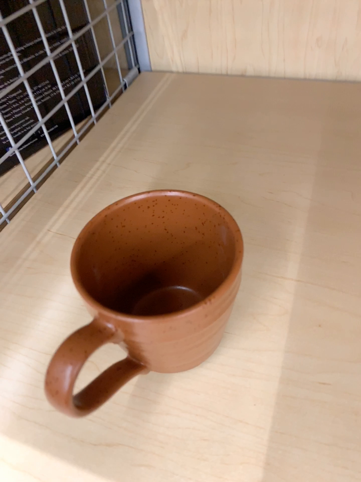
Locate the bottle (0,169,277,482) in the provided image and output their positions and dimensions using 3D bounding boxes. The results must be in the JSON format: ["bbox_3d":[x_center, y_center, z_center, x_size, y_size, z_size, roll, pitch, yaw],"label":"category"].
[{"bbox_3d":[-0.019,0.043,0.232,0.100,0.090,0.140,21,53,25],"label":"bottle"}]
